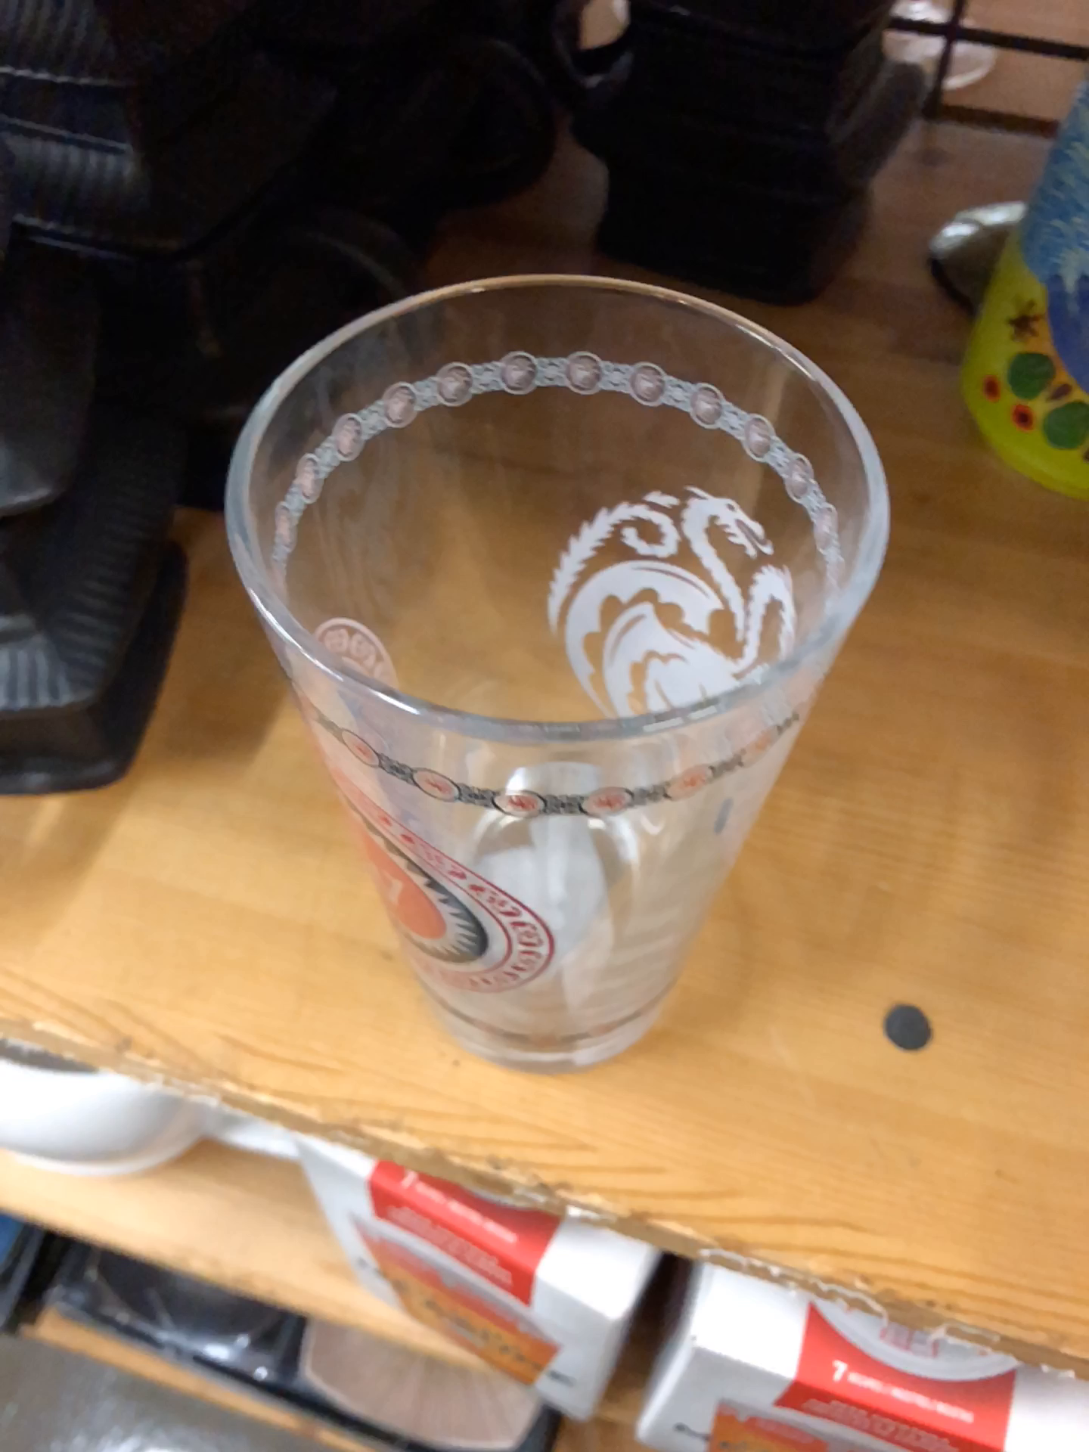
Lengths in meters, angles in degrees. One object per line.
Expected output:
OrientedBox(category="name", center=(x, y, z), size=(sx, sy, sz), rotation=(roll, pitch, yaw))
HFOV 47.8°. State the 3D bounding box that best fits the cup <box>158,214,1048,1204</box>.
OrientedBox(category="cup", center=(0.003, 0.005, 0.211), size=(0.084, 0.132, 0.085), rotation=(0, 54, 0))
